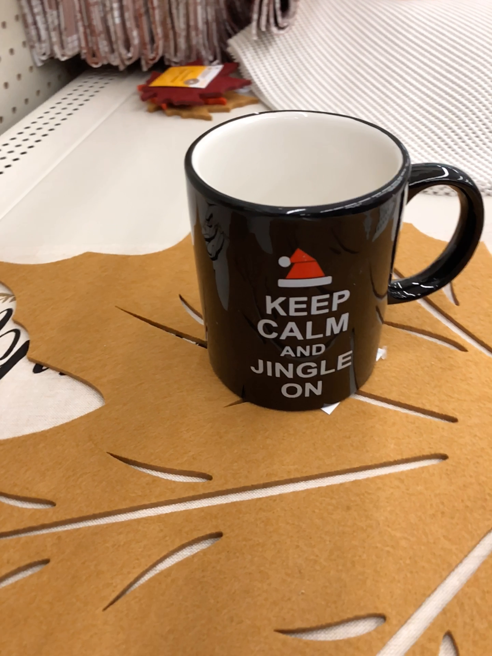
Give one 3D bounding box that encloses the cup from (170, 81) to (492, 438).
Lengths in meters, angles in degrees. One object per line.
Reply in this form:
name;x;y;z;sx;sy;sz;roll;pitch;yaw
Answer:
cup;0.044;-0.034;0.252;0.130;0.110;0.090;-12;43;-10
